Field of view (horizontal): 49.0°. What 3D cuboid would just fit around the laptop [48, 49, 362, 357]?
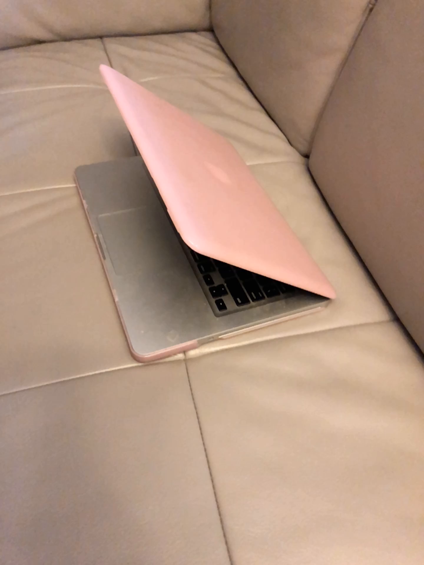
[{"bbox_3d":[-0.026,-0.112,0.521,0.219,0.145,0.309,-15,52,-15],"label":"laptop"}]
